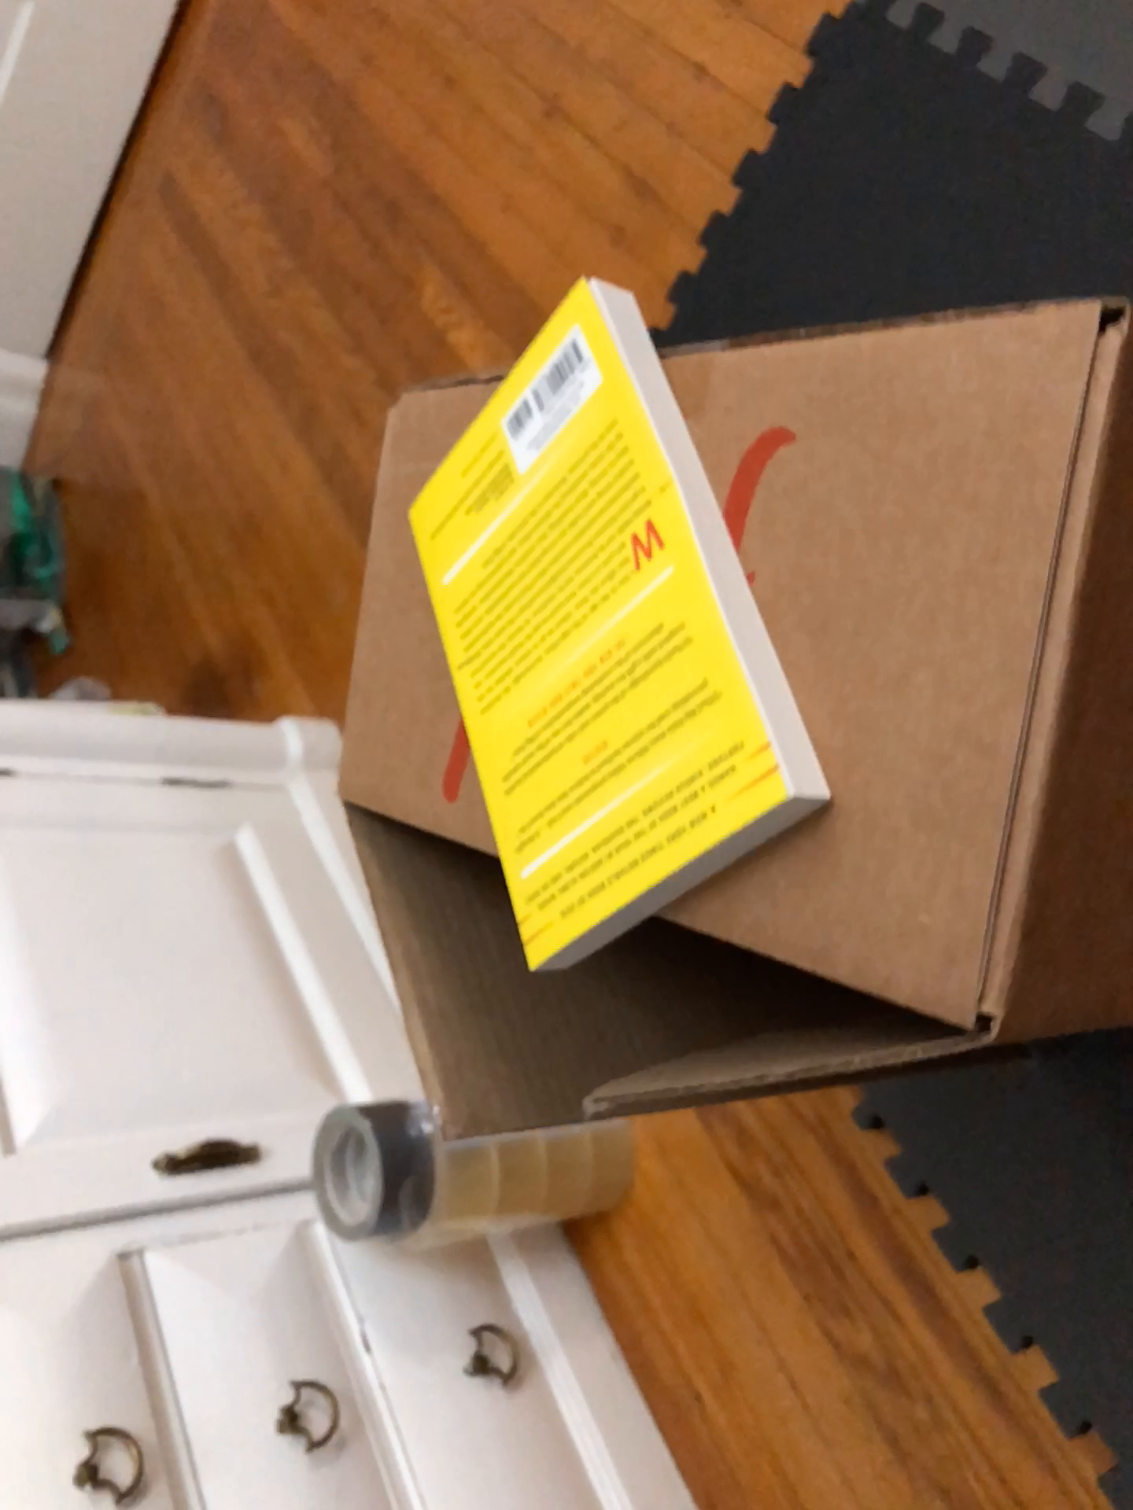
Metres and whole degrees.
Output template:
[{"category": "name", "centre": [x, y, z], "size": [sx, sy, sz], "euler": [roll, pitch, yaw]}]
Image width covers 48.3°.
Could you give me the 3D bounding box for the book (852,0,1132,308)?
[{"category": "book", "centre": [0.195, -0.281, 0.410], "size": [0.150, 0.020, 0.220], "euler": [-41, 56, 40]}]
